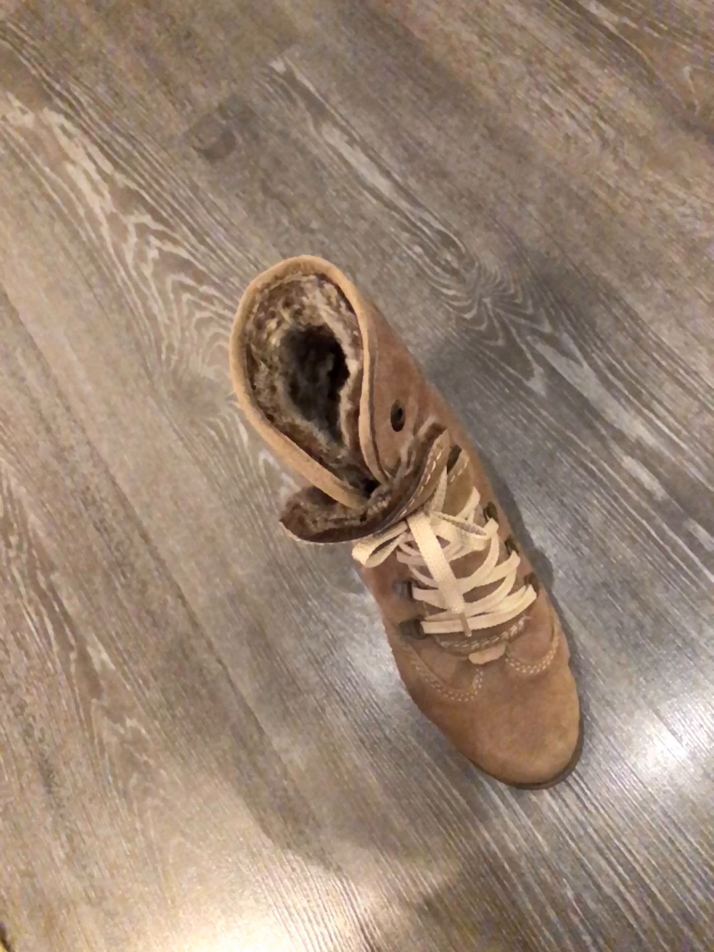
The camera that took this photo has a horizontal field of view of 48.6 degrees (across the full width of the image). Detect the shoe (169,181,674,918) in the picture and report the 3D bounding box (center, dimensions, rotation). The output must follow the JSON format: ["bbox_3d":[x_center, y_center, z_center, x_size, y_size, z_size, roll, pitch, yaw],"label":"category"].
[{"bbox_3d":[0.031,0.035,0.362,0.100,0.190,0.241,-23,68,8],"label":"shoe"}]
